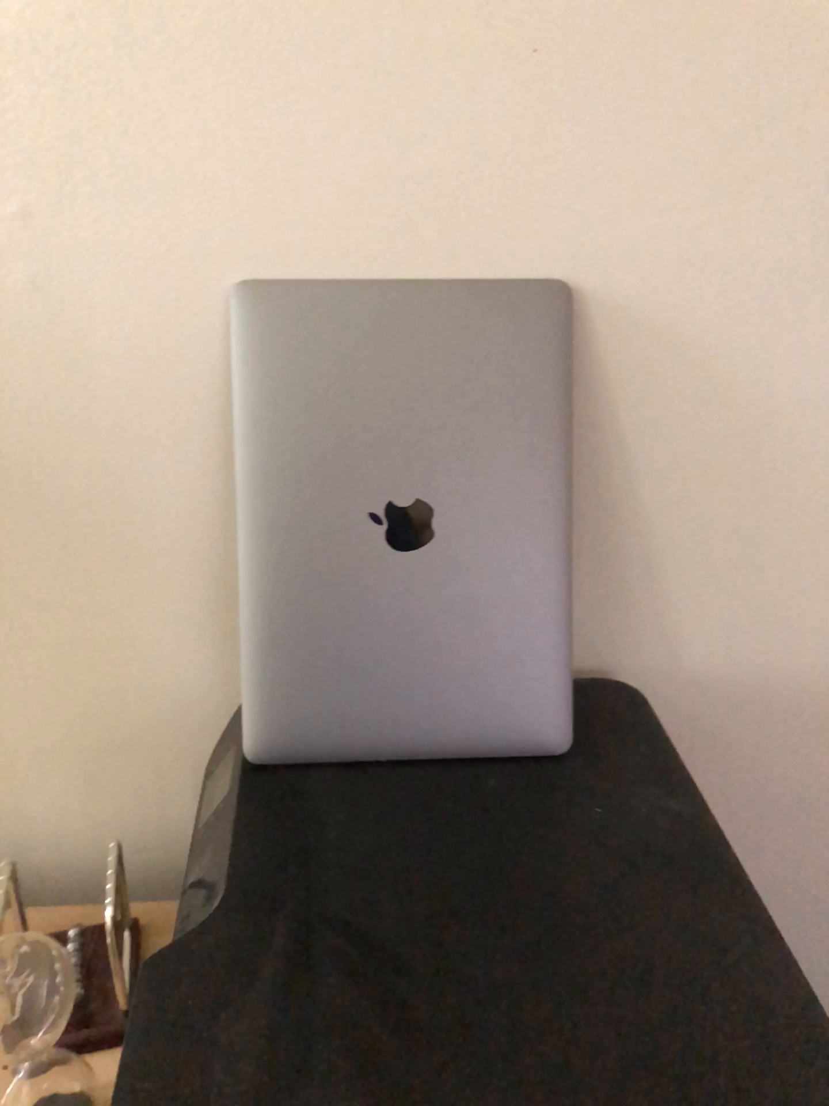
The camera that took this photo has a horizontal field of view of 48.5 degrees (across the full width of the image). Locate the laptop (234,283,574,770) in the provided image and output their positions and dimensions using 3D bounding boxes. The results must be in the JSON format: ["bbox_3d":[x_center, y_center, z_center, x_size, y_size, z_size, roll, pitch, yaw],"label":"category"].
[{"bbox_3d":[-0.004,-0.015,0.537,0.196,0.275,0.002,-1,3,-3],"label":"laptop"}]
